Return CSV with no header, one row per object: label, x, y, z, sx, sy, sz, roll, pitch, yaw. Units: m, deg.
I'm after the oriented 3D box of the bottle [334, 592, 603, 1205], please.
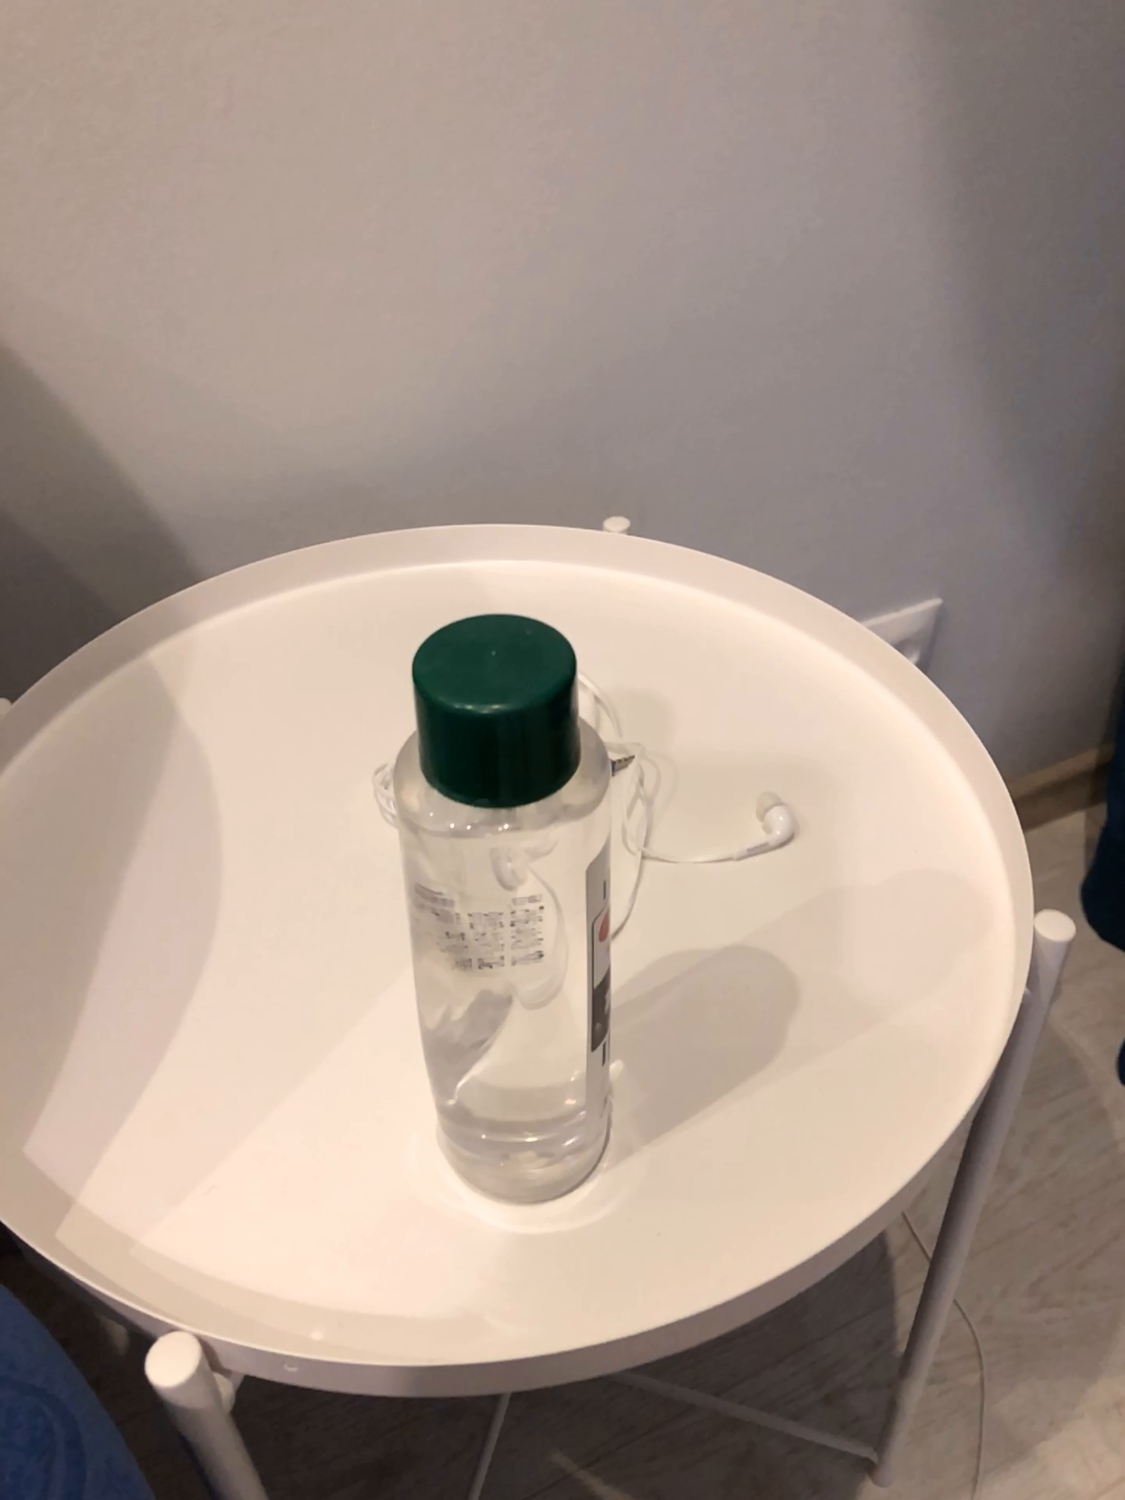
bottle,-0.019,0.053,0.355,0.059,0.199,0.052,0,40,1
